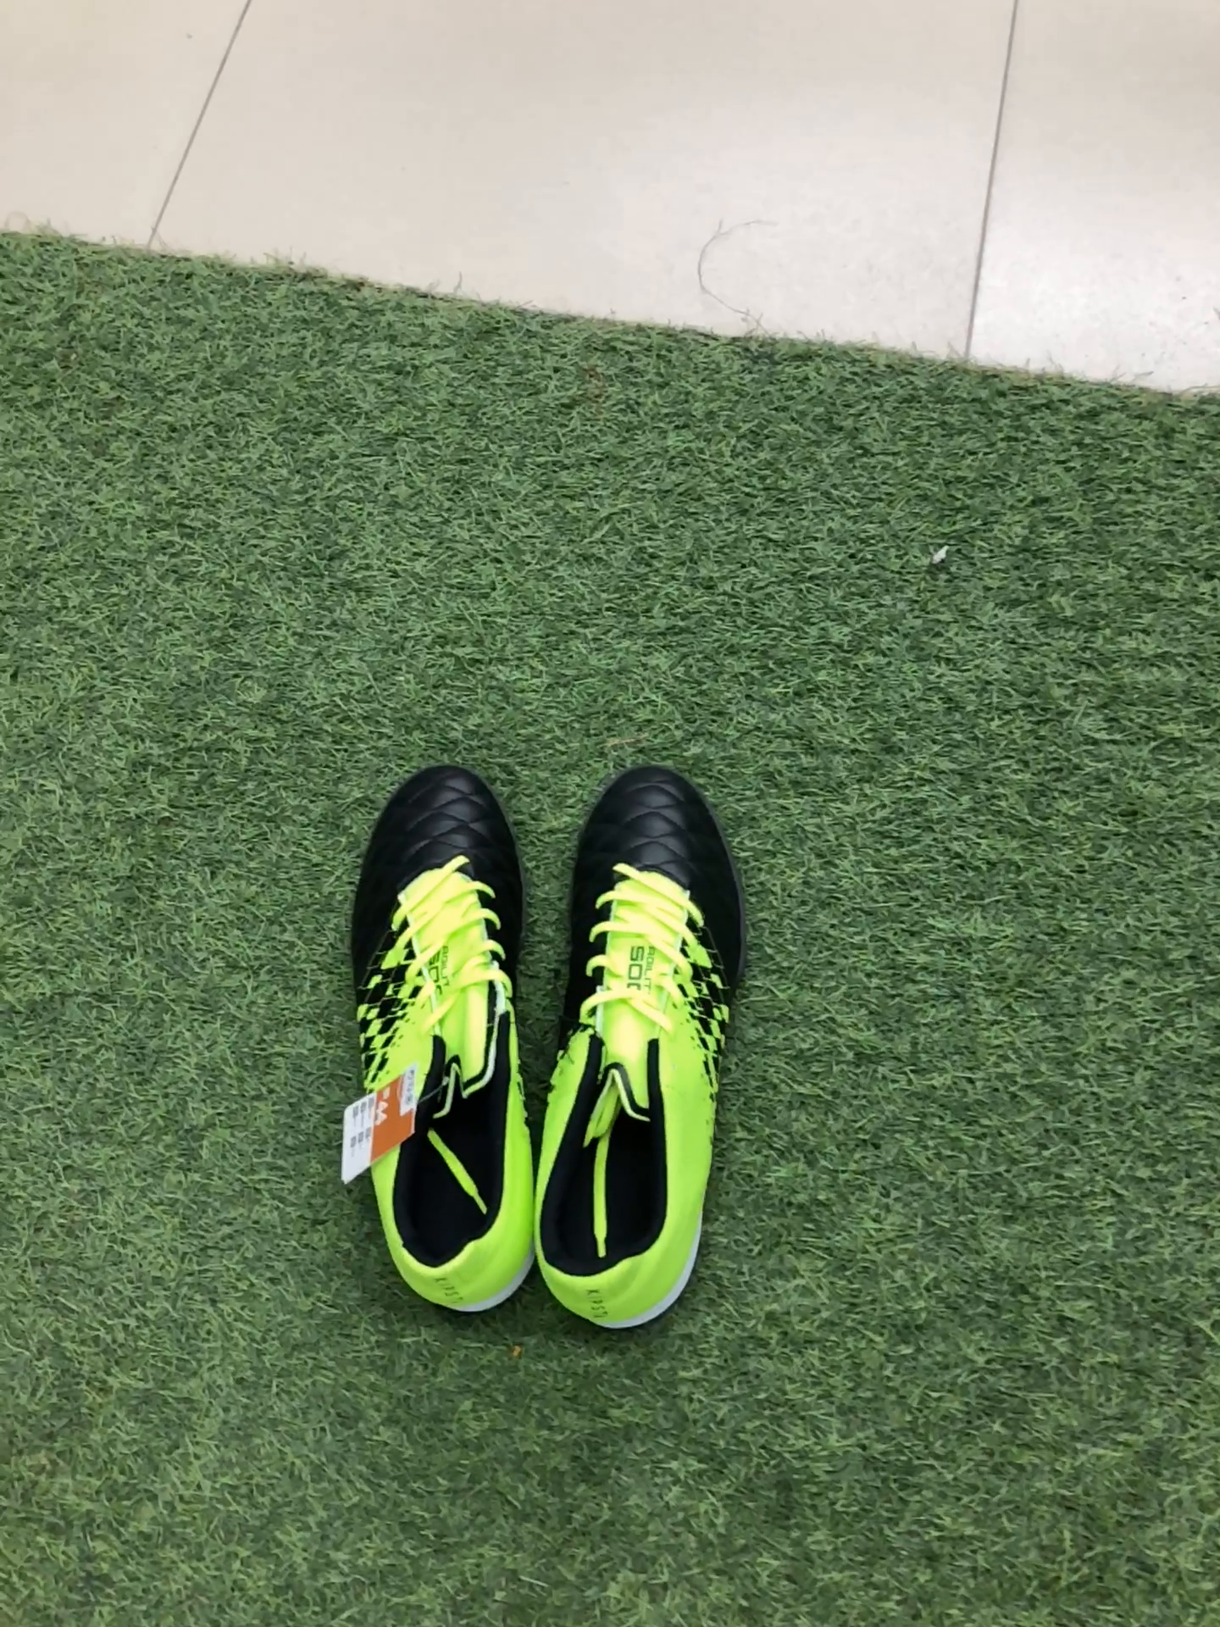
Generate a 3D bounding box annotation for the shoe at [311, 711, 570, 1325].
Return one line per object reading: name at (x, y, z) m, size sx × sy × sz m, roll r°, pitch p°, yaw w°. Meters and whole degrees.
shoe at (-0.086, 0.100, 0.668) m, size 0.100 × 0.090 × 0.281 m, roll -7°, pitch 68°, yaw 3°

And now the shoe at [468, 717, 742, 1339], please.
shoe at (0.006, 0.101, 0.653) m, size 0.100 × 0.090 × 0.281 m, roll 3°, pitch 68°, yaw 7°
